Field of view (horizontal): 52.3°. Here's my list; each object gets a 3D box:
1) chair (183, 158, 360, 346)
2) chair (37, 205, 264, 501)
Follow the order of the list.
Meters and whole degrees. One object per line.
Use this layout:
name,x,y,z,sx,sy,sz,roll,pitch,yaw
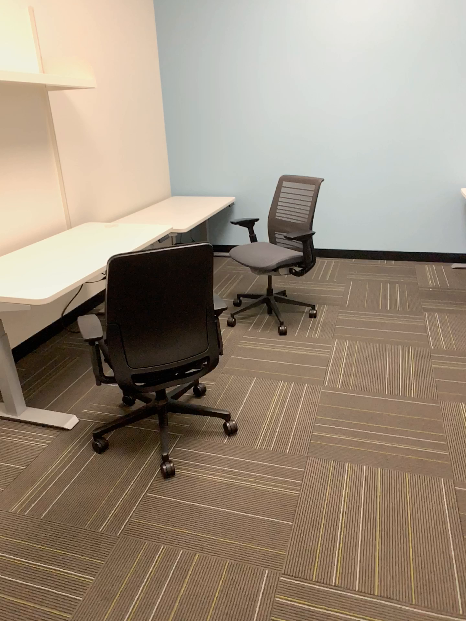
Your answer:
chair,0.234,-0.470,3.260,0.770,0.995,0.895,-15,25,-27
chair,-0.363,0.098,2.107,0.680,0.935,0.774,-14,25,-26
